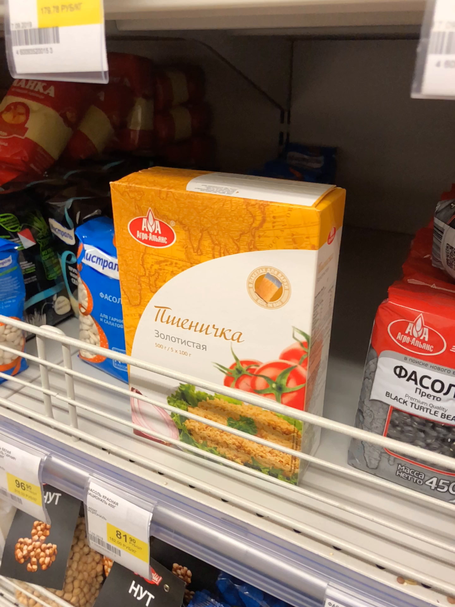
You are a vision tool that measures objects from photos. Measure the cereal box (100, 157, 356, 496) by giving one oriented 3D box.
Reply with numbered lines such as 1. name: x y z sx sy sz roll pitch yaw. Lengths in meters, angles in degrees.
1. cereal box: 0.000 0.012 0.342 0.140 0.199 0.060 11 28 23
